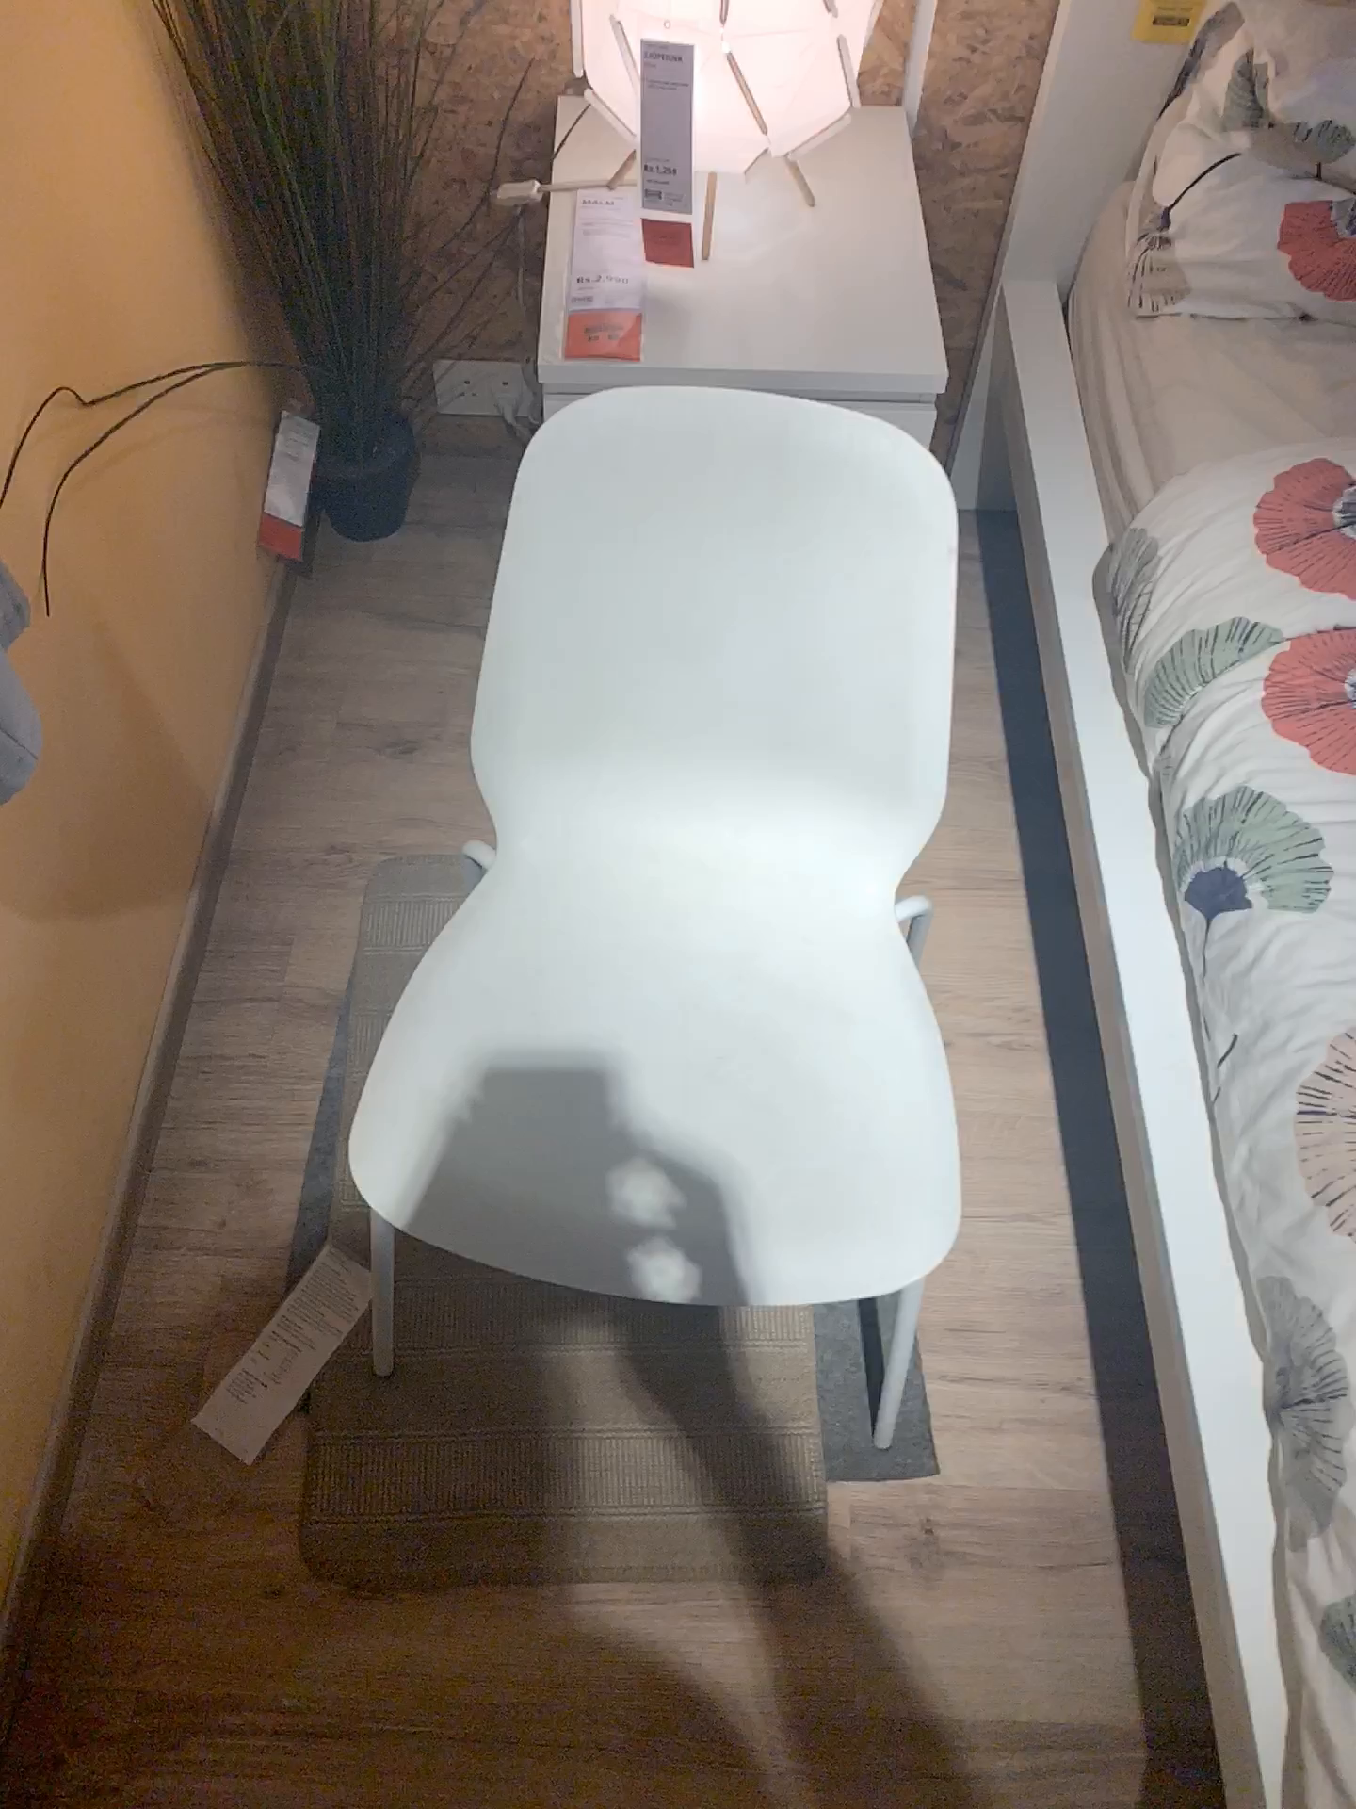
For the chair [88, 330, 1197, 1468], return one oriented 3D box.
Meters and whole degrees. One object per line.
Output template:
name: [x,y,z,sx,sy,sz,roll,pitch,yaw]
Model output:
chair: [0.001,0.061,1.136,0.540,0.758,0.562,7,58,2]
